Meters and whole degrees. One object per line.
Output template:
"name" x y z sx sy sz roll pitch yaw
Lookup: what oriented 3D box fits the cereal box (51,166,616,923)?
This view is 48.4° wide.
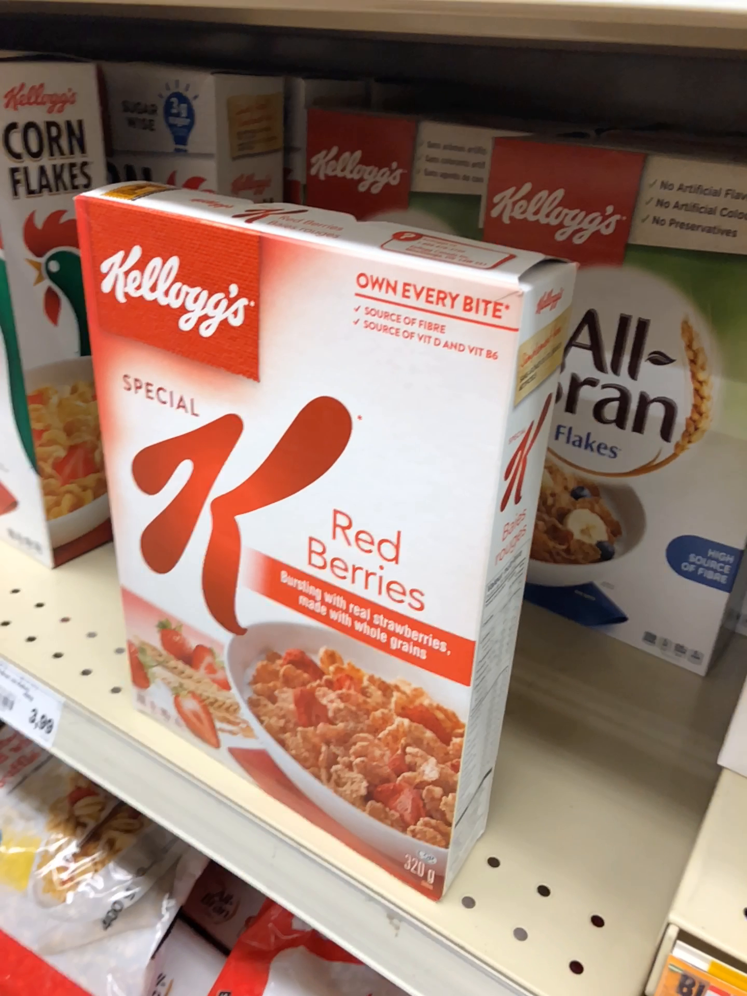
"cereal box" -0.030 0.018 0.366 0.211 0.278 0.060 21 34 30
